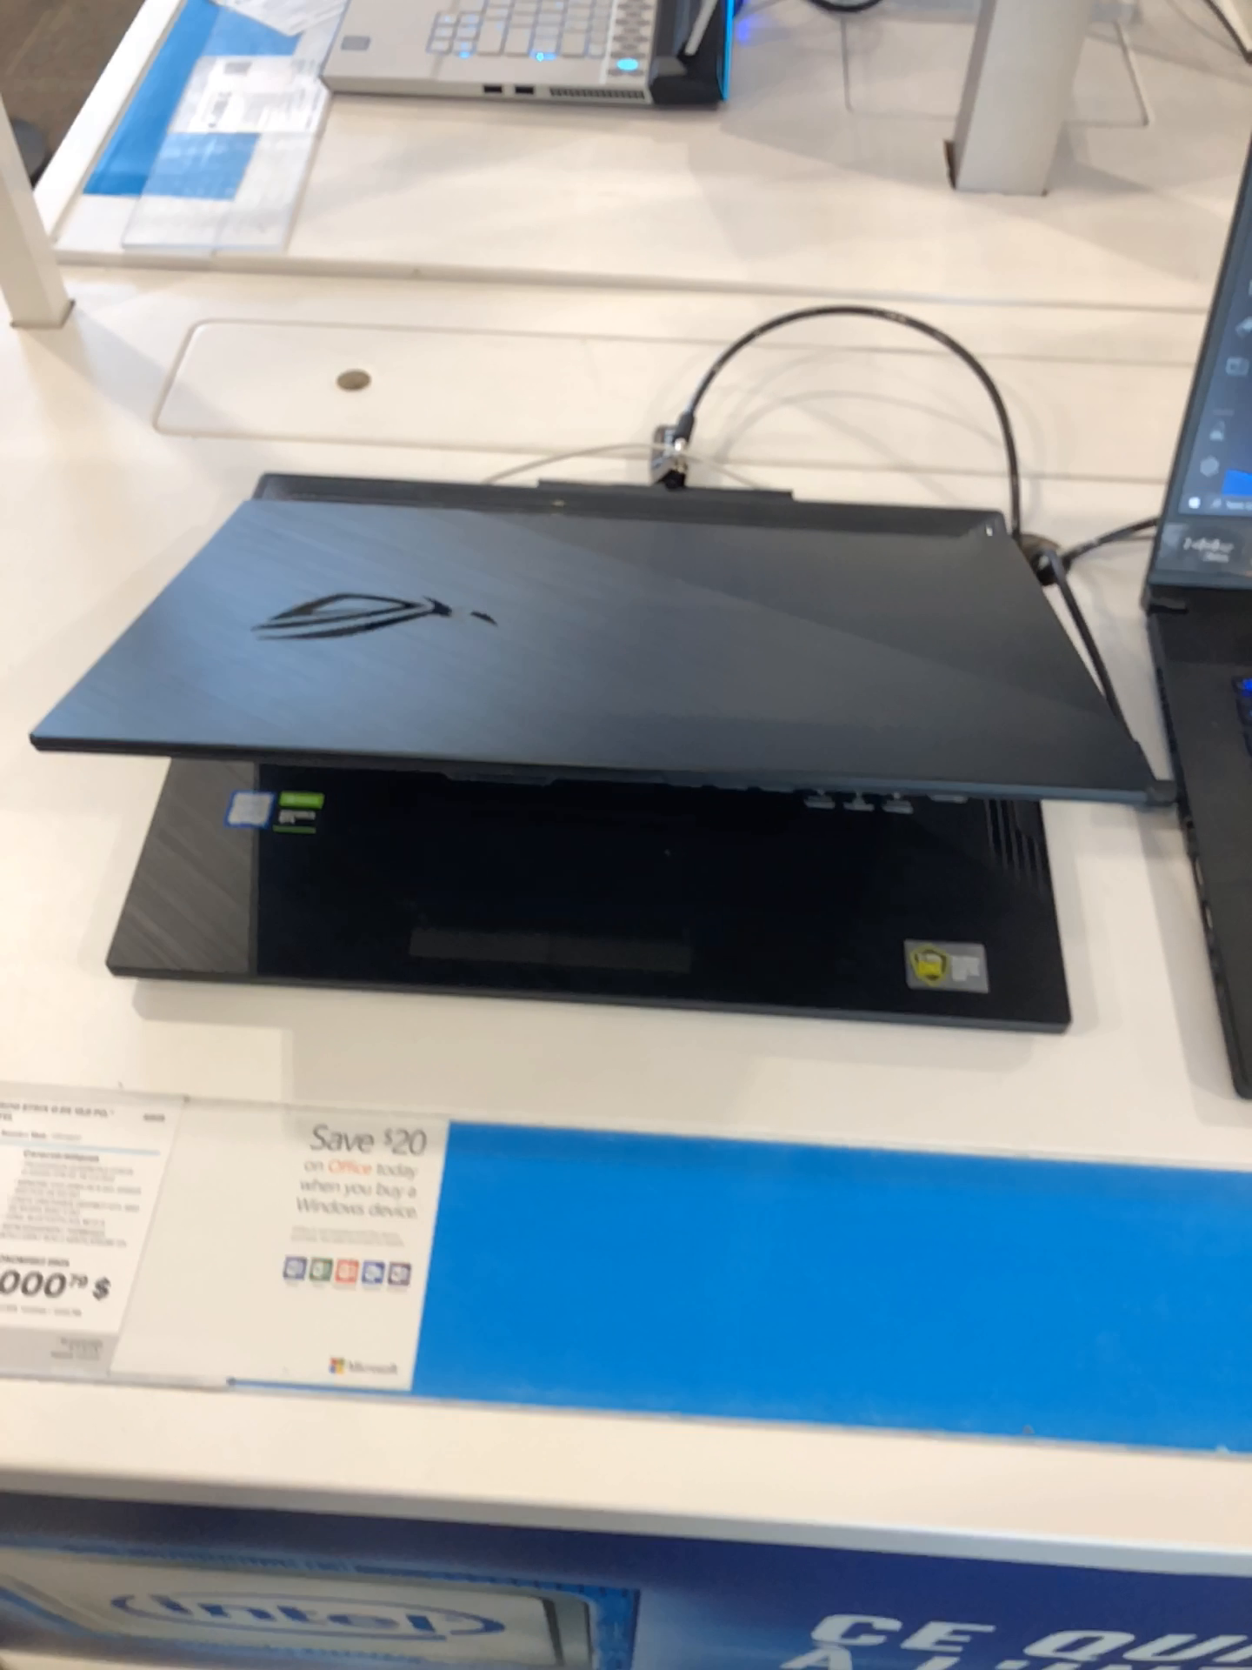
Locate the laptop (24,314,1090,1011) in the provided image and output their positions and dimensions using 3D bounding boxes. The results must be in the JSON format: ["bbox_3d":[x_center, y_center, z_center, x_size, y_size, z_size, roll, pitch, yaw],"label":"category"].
[{"bbox_3d":[-0.014,-0.079,0.544,0.331,0.097,0.263,3,55,4],"label":"laptop"}]
